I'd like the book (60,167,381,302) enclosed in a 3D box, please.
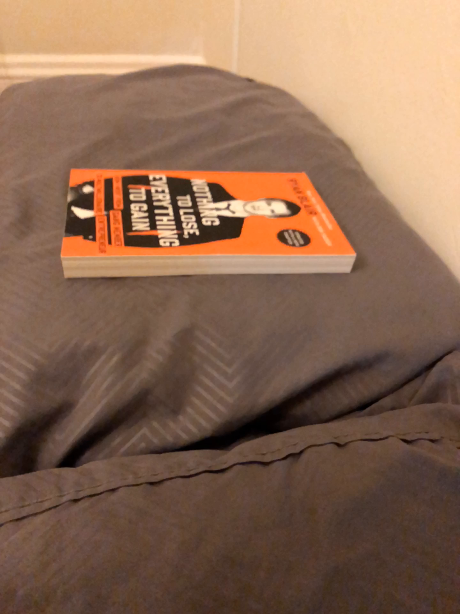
[{"bbox_3d":[-0.013,-0.066,0.422,0.230,0.020,0.151,-2,44,-11],"label":"book"}]
